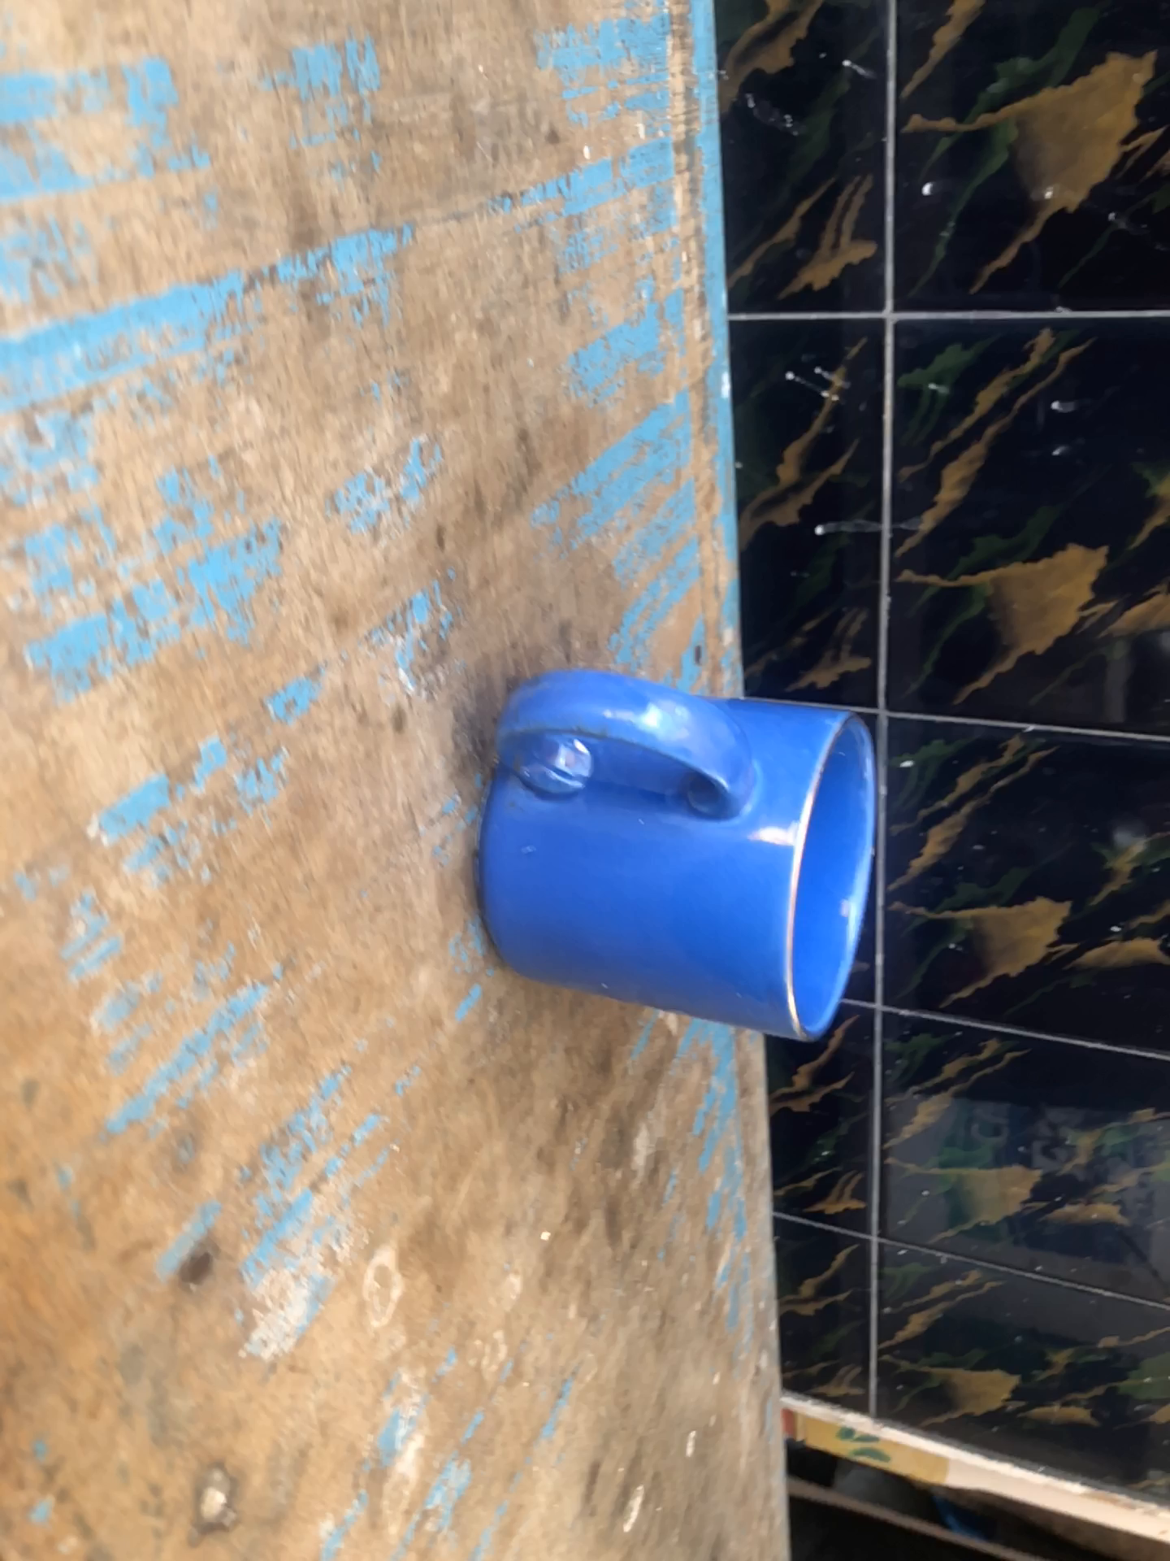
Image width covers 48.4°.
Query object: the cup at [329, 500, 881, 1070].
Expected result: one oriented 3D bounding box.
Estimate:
[{"bbox_3d":[0.014,0.005,0.271,0.111,0.070,0.070,56,46,-58],"label":"cup"}]
